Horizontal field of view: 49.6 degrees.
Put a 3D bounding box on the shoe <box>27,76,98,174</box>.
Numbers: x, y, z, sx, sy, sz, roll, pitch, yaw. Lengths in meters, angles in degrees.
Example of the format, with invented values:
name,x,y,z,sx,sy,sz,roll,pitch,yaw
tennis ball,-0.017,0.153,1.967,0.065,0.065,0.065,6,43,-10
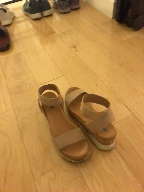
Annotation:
name,x,y,z,sx,sy,sz,roll,pitch,yaw
shoe,-0.035,0.078,0.485,0.100,0.139,0.251,-25,51,-15

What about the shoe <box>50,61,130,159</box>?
name,x,y,z,sx,sy,sz,roll,pitch,yaw
shoe,0.040,0.032,0.520,0.100,0.139,0.291,-25,50,-14
